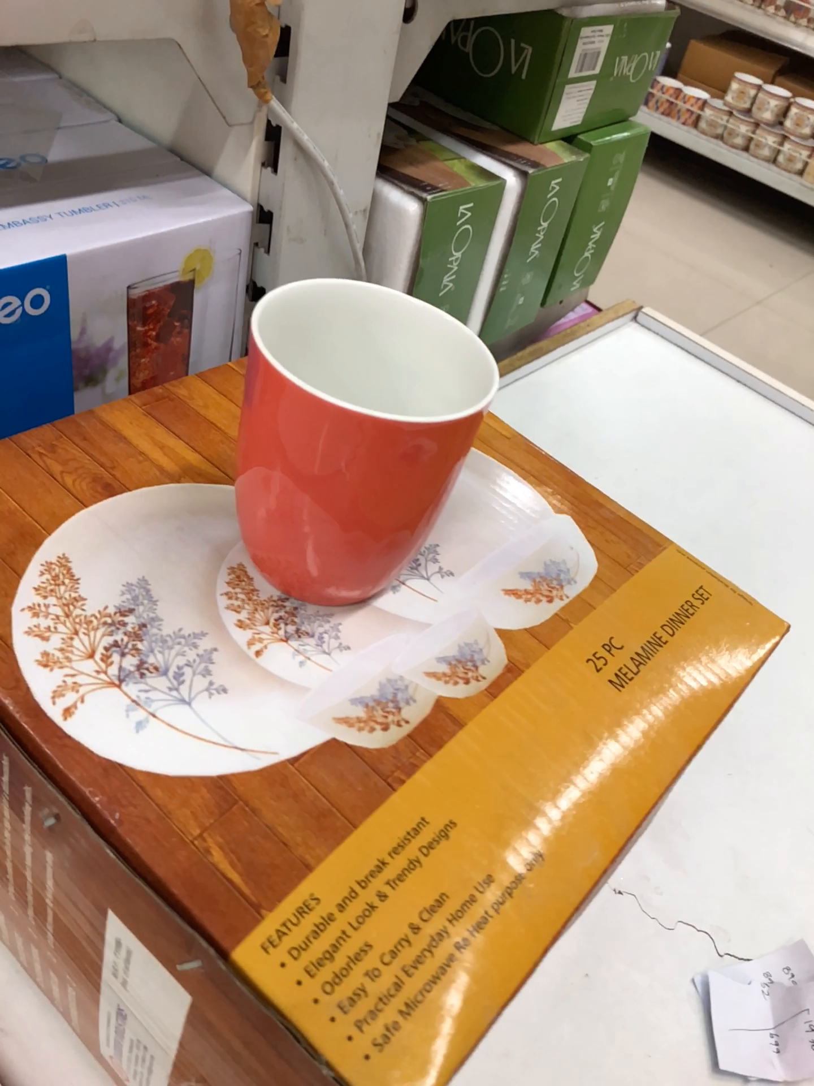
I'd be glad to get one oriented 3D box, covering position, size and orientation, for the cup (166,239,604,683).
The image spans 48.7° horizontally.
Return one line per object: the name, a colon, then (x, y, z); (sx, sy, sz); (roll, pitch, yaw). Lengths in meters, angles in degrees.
cup: (-0.011, -0.037, 0.338); (0.090, 0.099, 0.121); (39, 46, 24)
